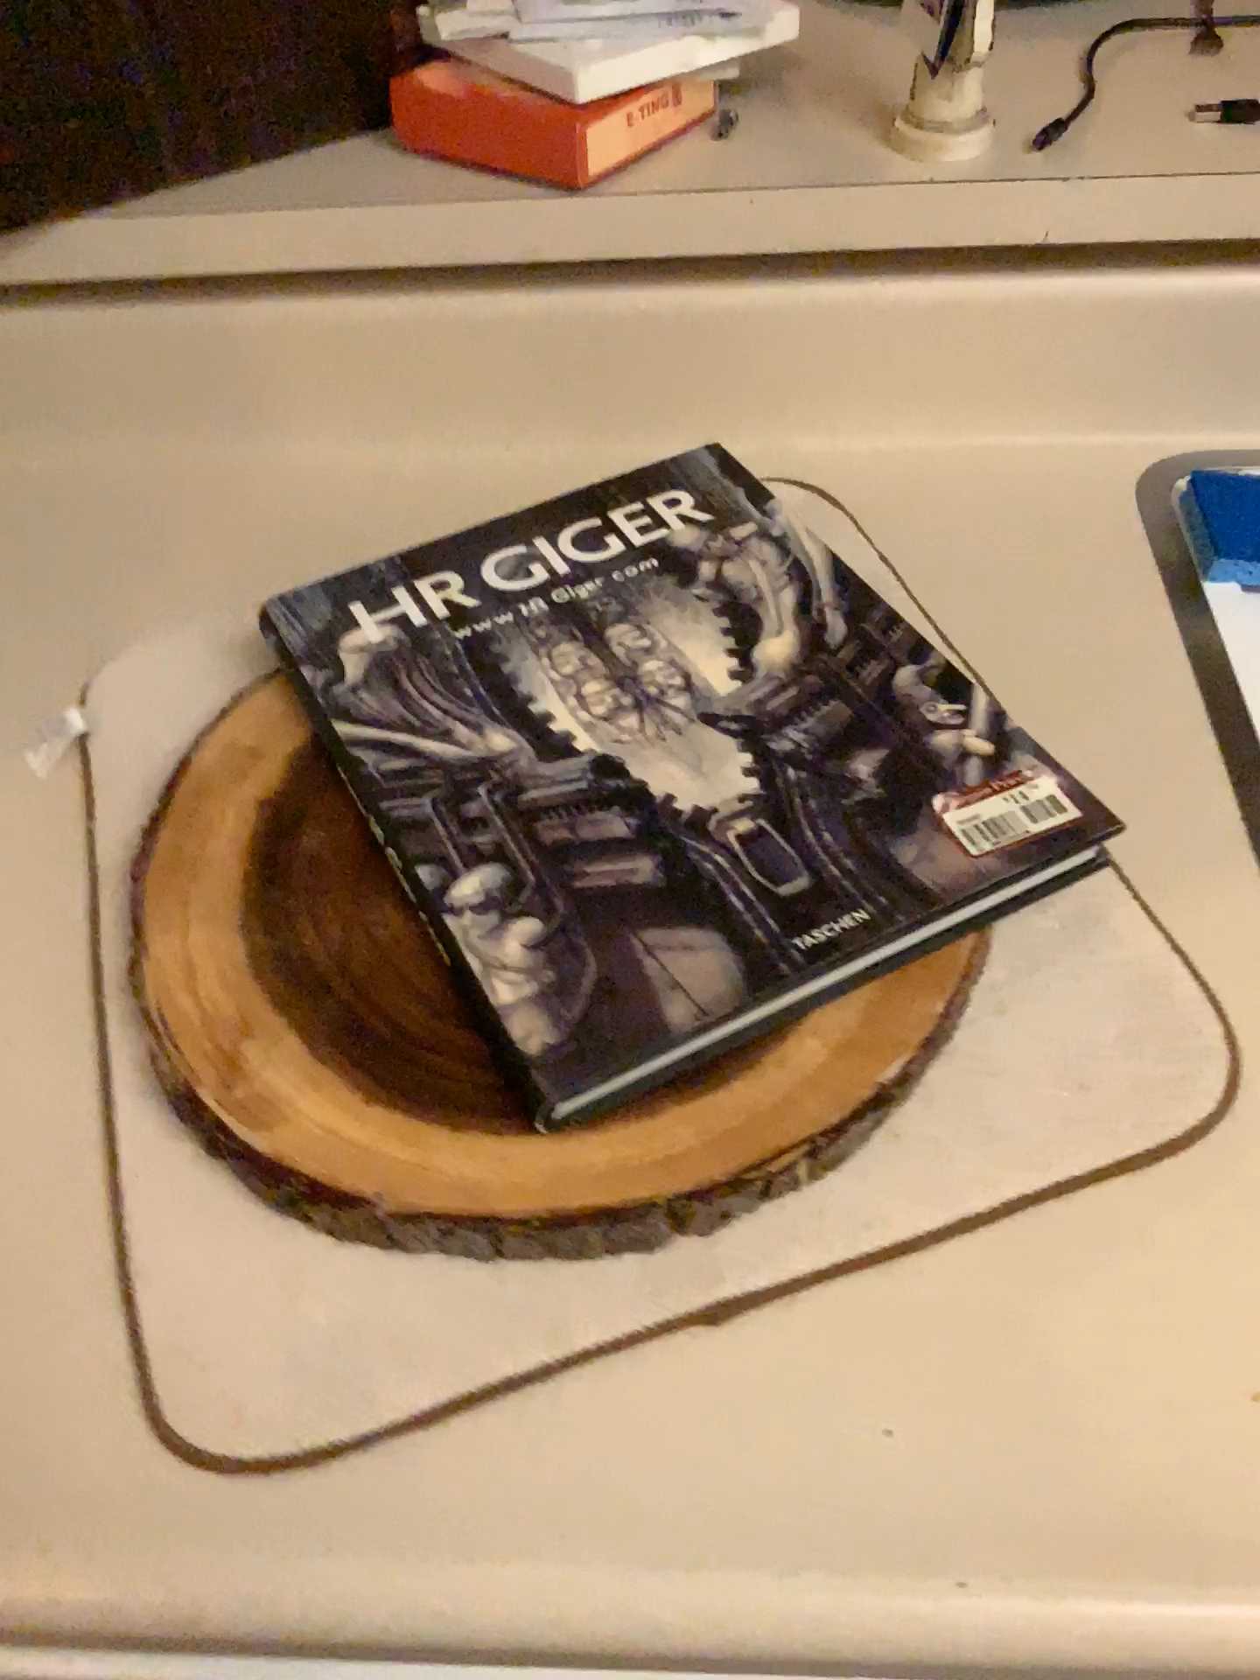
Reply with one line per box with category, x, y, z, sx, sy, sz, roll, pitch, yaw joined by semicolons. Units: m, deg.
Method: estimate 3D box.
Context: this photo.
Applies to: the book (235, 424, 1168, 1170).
book;0.011;-0.053;0.612;0.270;0.030;0.330;-24;51;-17
